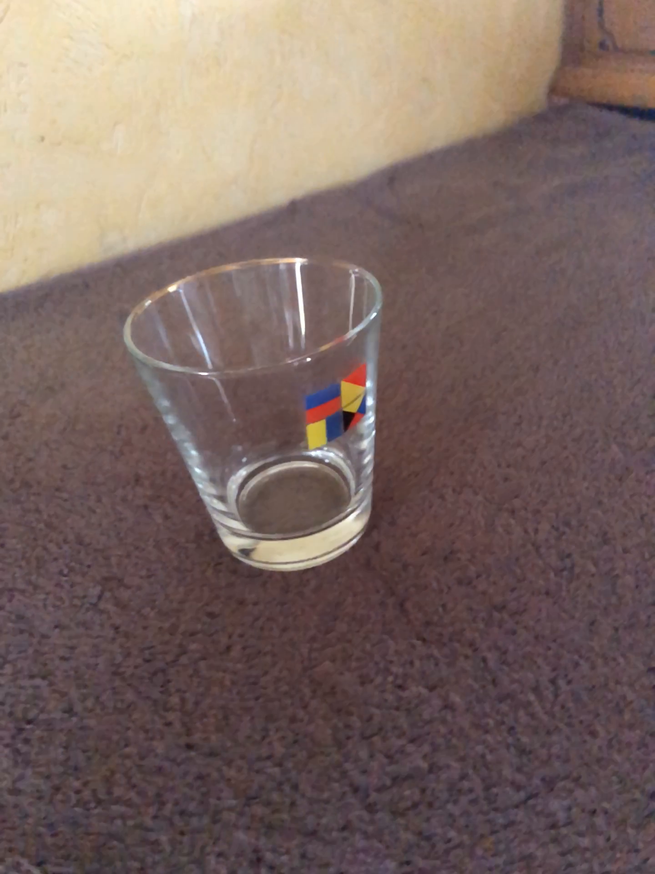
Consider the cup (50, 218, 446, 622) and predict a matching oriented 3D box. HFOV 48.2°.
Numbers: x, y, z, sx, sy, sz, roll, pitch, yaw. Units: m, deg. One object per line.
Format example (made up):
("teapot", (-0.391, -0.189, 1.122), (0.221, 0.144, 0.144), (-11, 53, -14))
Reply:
("cup", (-0.020, -0.012, 0.234), (0.080, 0.080, 0.080), (-6, 35, 4))
